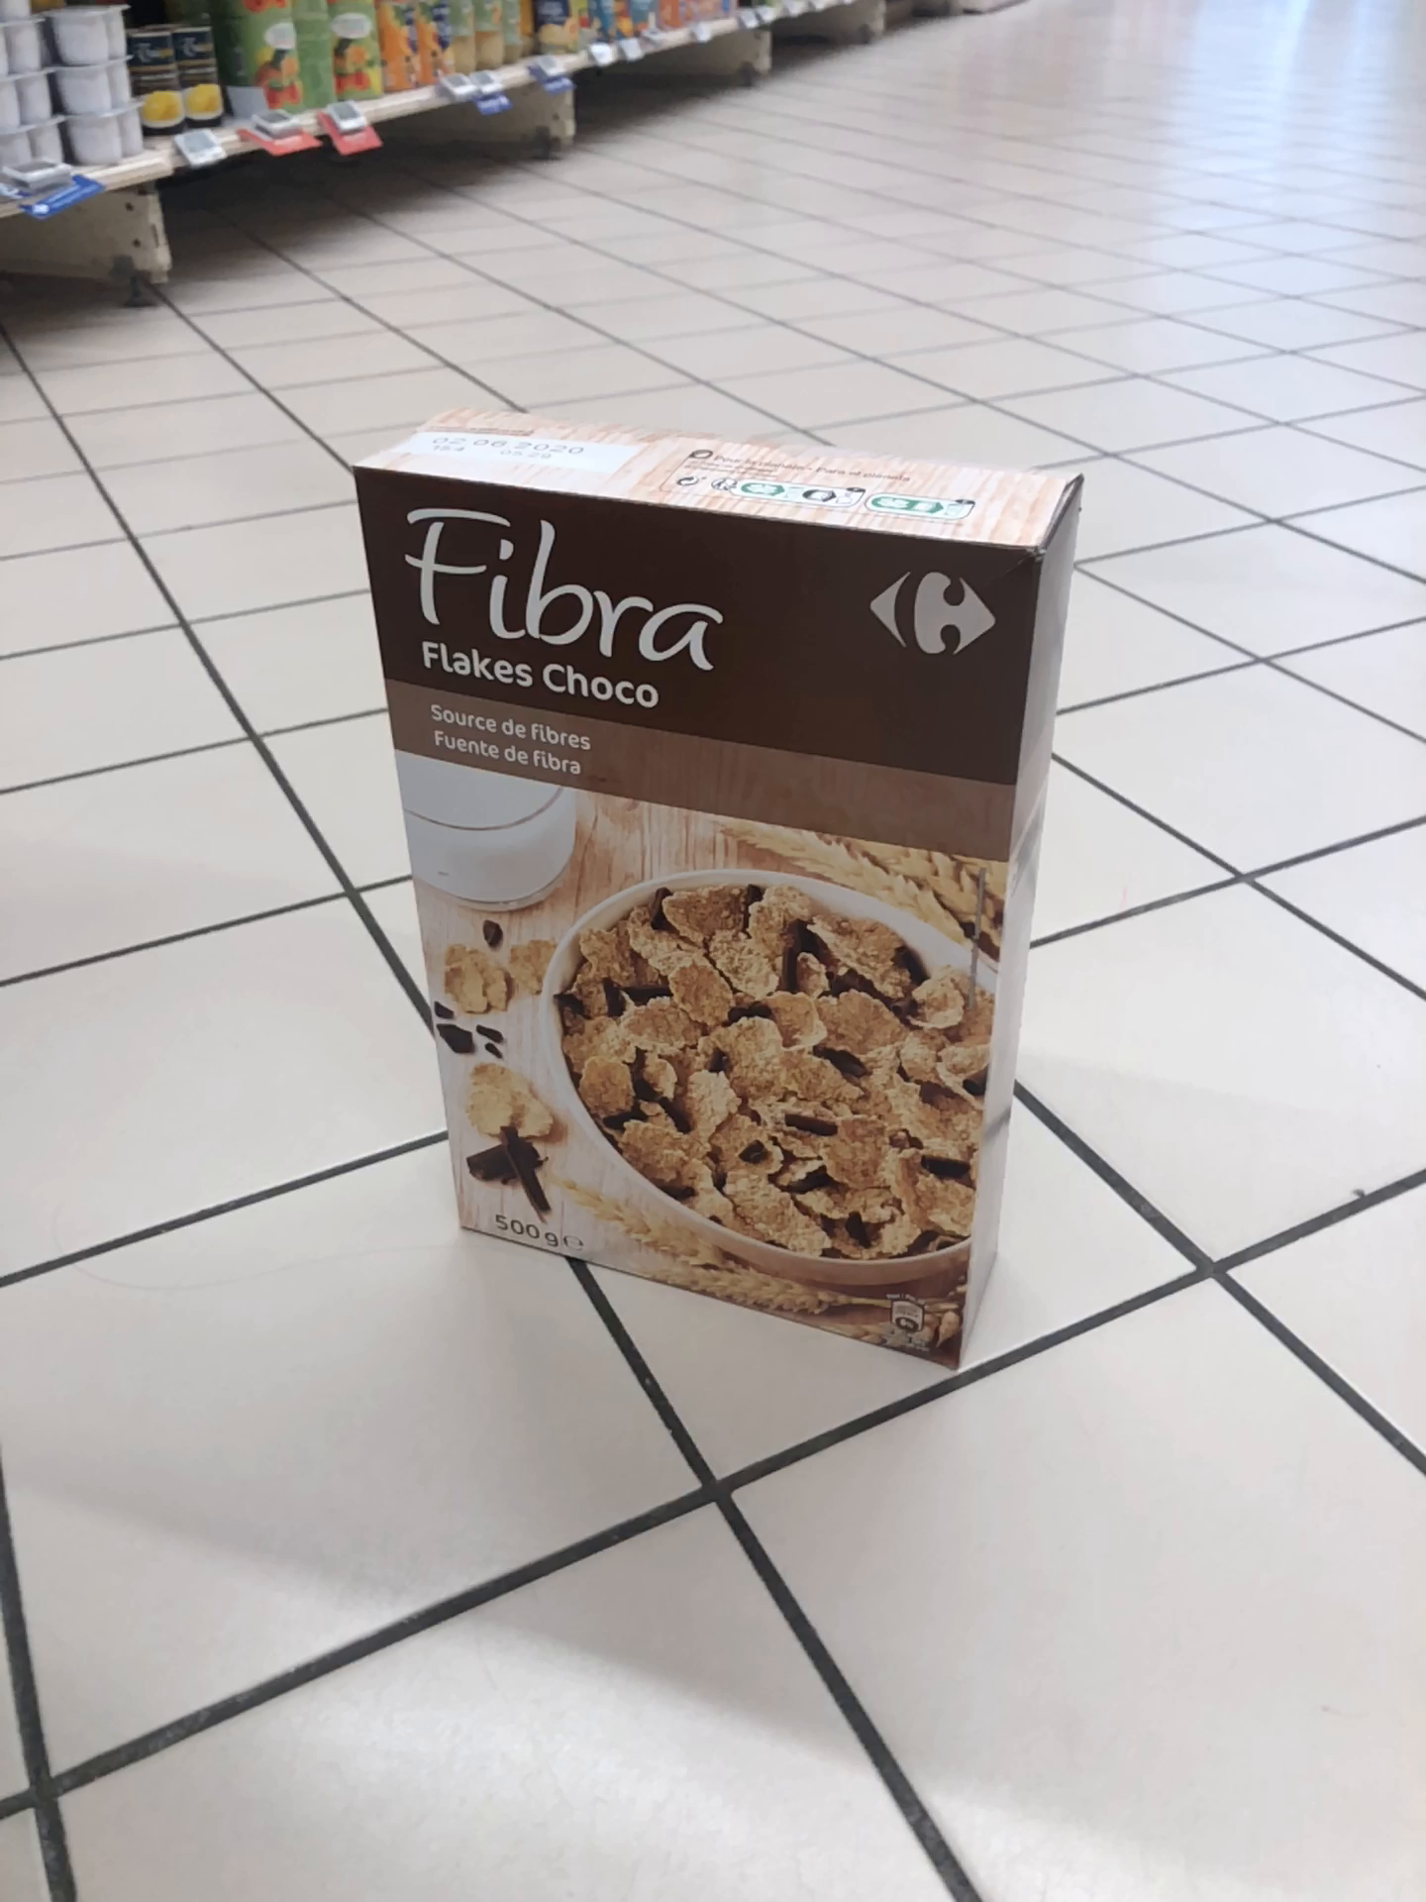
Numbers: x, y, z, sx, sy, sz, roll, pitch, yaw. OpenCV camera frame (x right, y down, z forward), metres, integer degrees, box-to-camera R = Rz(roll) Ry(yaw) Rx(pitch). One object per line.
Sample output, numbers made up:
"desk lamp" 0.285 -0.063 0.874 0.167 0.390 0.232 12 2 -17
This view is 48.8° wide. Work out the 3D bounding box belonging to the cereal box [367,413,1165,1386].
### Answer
"cereal box" 0.016 -0.010 0.495 0.200 0.278 0.070 11 36 18
